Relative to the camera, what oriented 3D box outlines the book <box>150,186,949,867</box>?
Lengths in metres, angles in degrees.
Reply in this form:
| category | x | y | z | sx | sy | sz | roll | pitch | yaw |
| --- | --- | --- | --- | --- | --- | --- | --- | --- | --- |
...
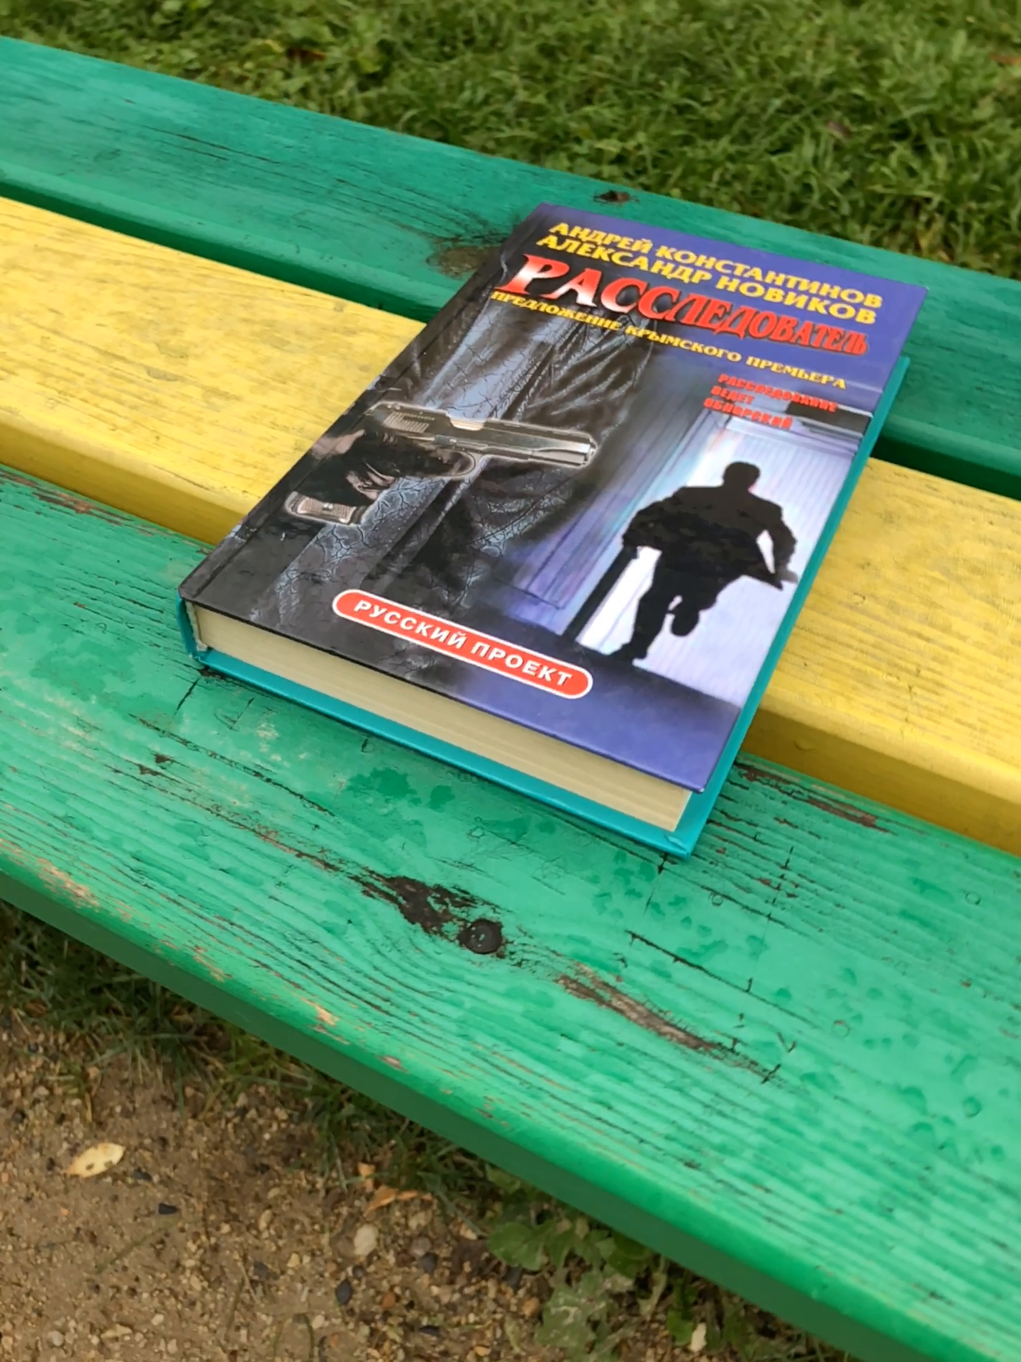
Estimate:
| category | x | y | z | sx | sy | sz | roll | pitch | yaw |
| --- | --- | --- | --- | --- | --- | --- | --- | --- | --- |
| book | 0.024 | -0.062 | 0.310 | 0.138 | 0.031 | 0.202 | 20 | 52 | 17 |
